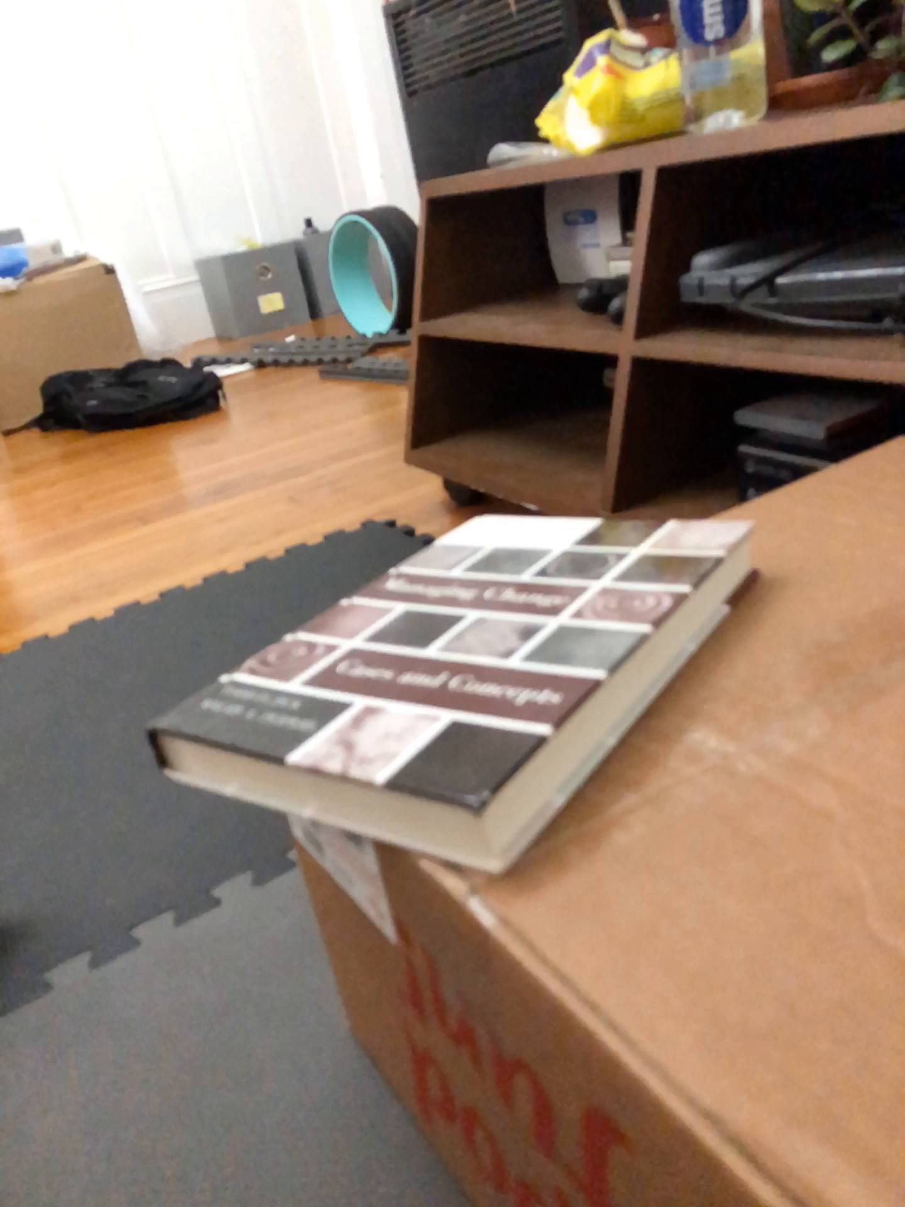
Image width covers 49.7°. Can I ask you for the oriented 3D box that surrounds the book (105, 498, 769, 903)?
[{"bbox_3d":[0.007,0.015,0.431,0.180,0.030,0.251,7,29,36],"label":"book"}]
